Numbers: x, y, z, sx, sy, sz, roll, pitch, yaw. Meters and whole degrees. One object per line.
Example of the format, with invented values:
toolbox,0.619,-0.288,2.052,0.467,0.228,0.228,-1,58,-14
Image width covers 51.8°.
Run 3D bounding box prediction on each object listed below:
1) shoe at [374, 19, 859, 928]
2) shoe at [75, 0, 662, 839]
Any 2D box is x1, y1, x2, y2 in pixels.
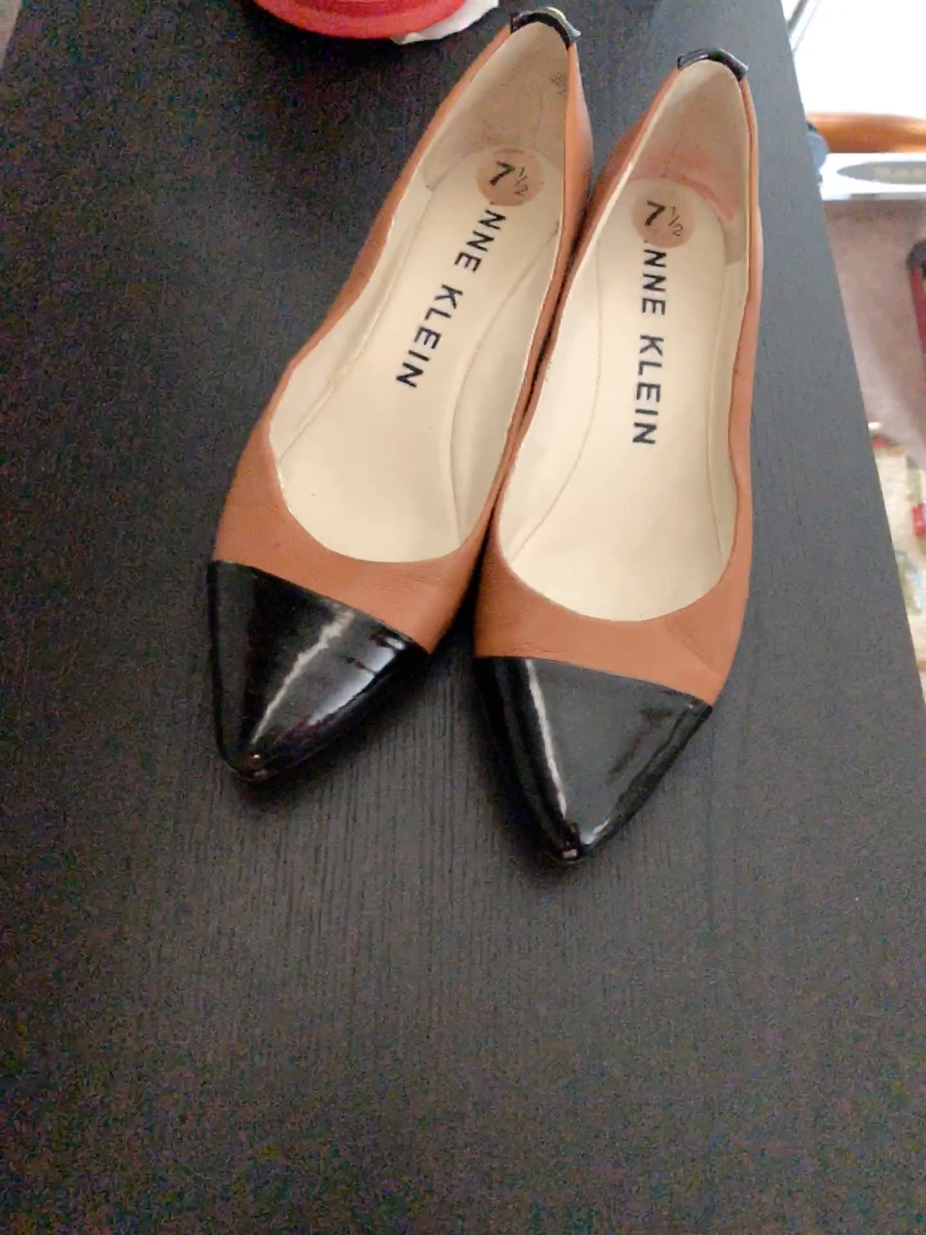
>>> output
shoe,0.050,-0.047,0.316,0.090,0.080,0.261,13,80,2
shoe,-0.020,-0.068,0.315,0.080,0.080,0.261,20,79,4
